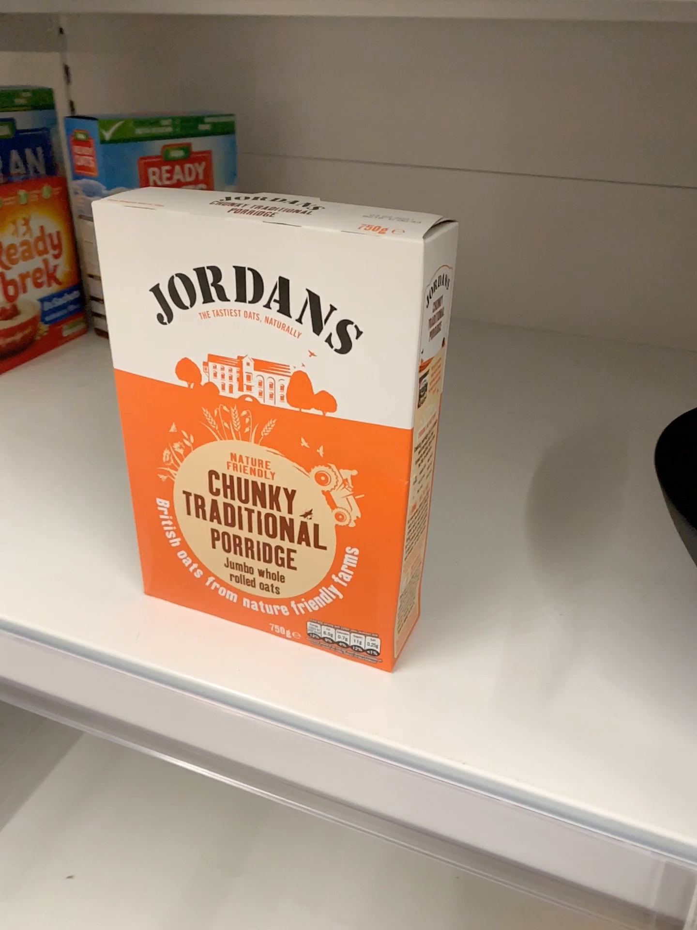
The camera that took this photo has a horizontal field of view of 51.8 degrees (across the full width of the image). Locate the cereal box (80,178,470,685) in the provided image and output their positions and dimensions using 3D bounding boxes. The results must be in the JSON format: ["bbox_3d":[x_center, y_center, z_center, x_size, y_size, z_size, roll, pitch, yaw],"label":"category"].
[{"bbox_3d":[-0.042,-0.017,0.428,0.190,0.268,0.061,12,31,19],"label":"cereal box"}]
